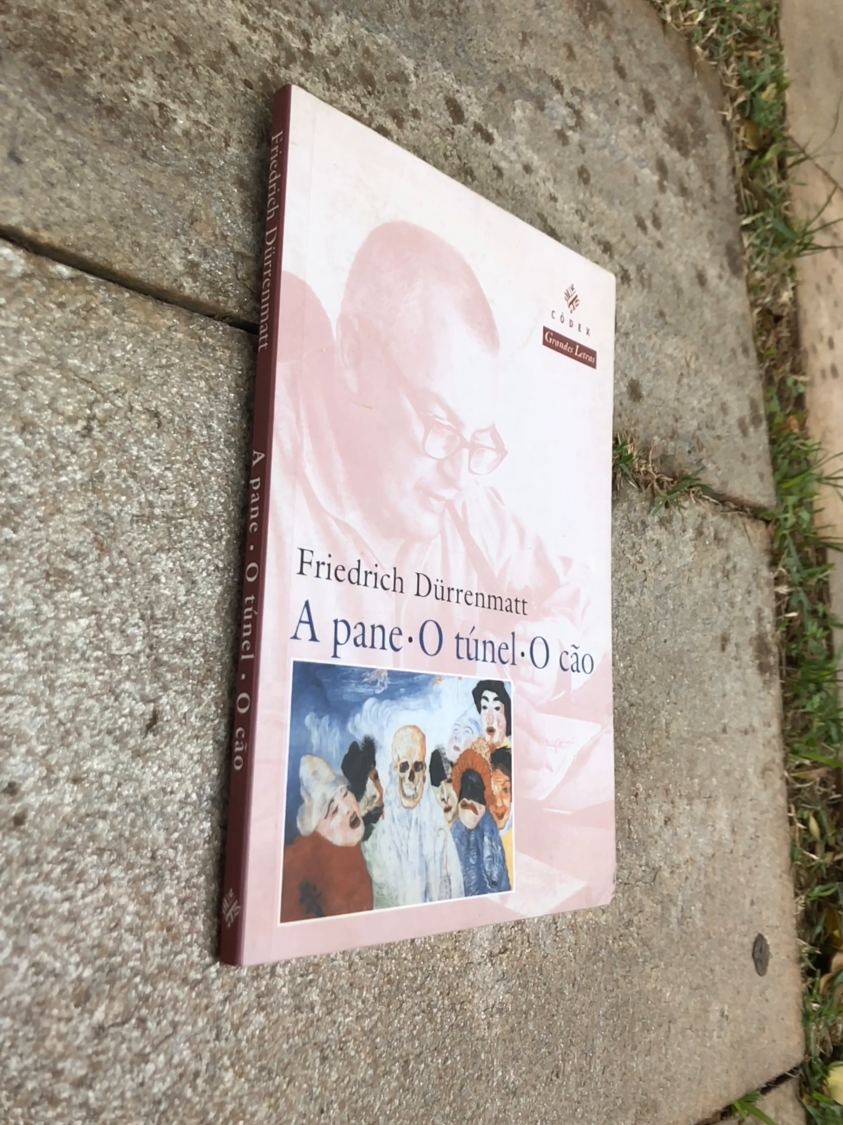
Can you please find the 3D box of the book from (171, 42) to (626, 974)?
[{"bbox_3d":[0.008,-0.009,0.259,0.138,0.020,0.210,13,75,-43],"label":"book"}]
